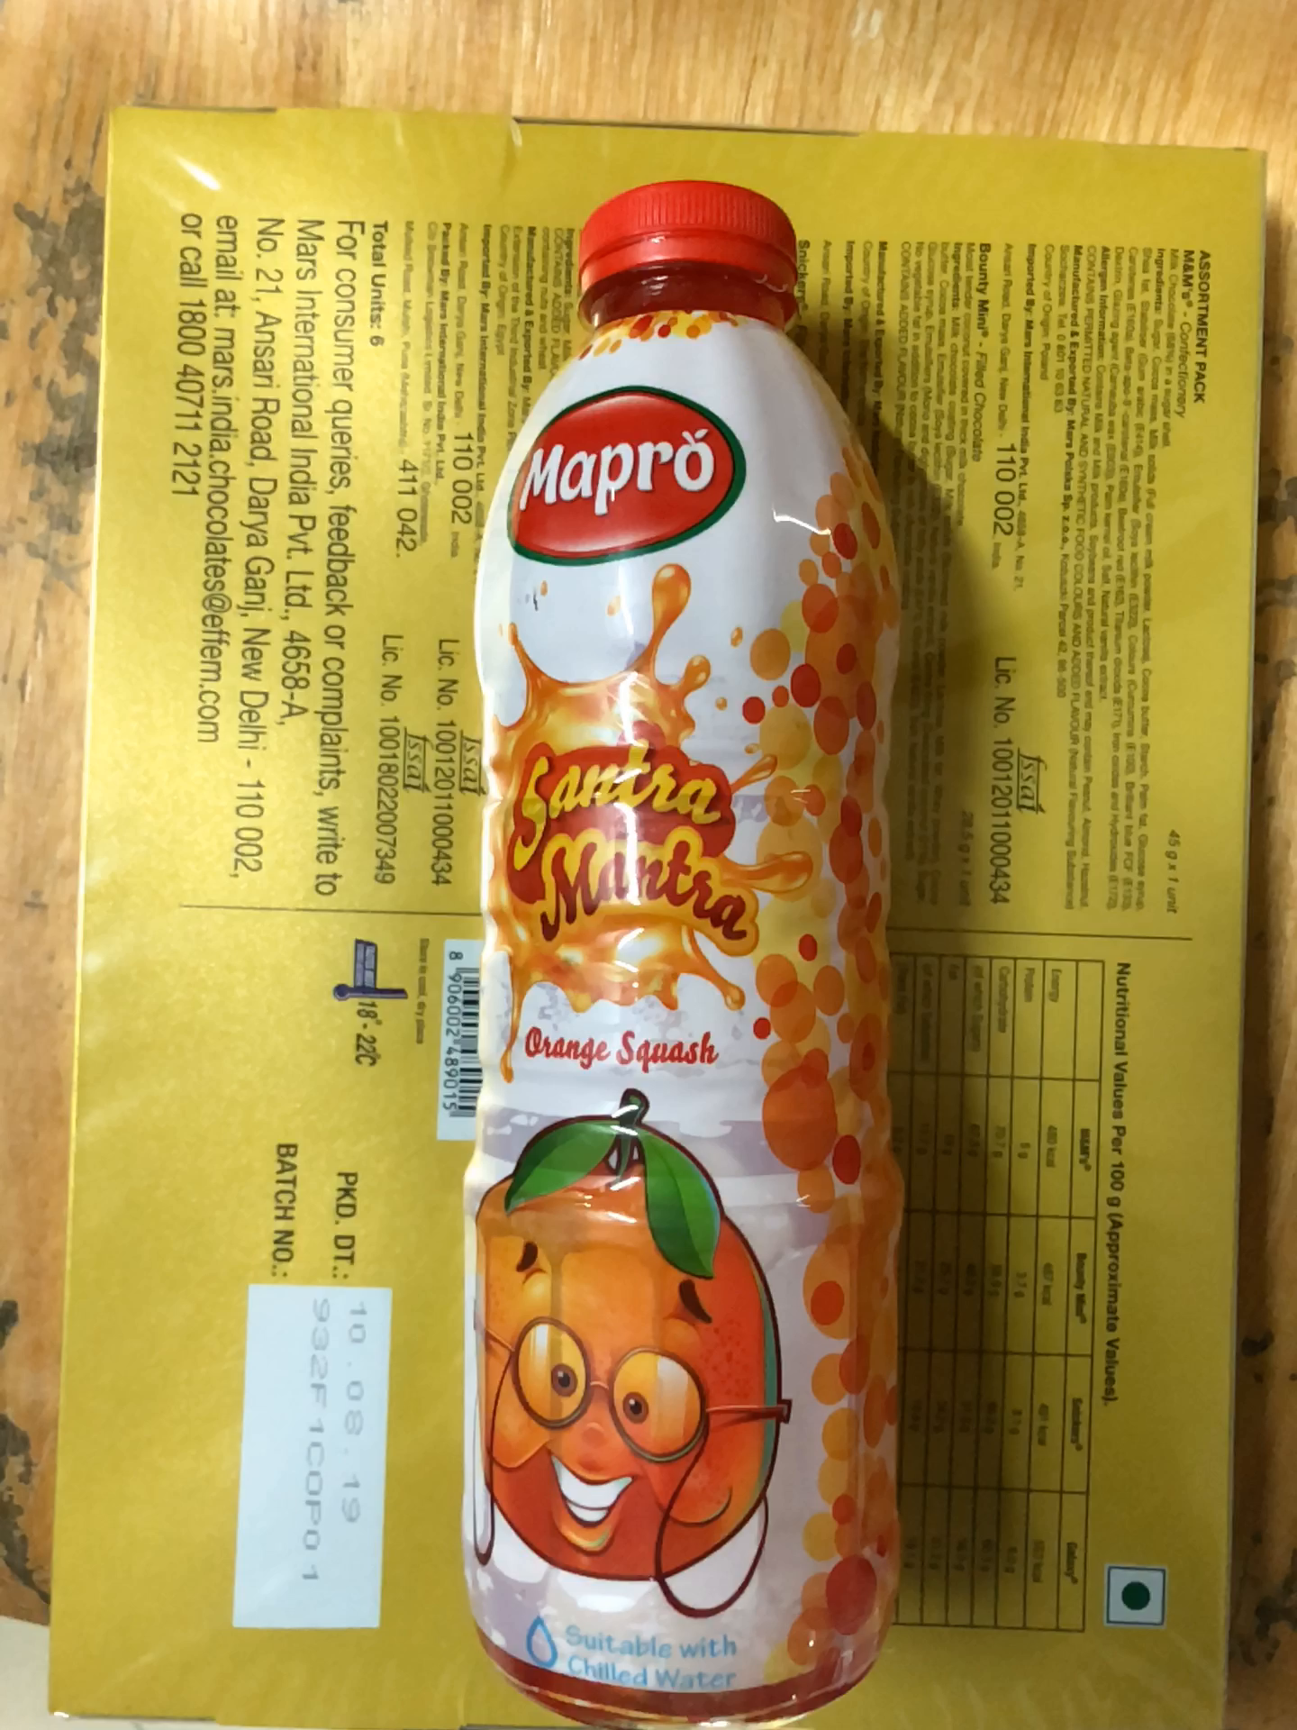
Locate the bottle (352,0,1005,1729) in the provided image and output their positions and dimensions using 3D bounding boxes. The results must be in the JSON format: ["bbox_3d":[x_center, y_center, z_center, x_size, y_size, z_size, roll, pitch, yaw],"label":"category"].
[{"bbox_3d":[0.006,-0.001,0.285,0.090,0.090,0.300,2,92,40],"label":"bottle"}]
